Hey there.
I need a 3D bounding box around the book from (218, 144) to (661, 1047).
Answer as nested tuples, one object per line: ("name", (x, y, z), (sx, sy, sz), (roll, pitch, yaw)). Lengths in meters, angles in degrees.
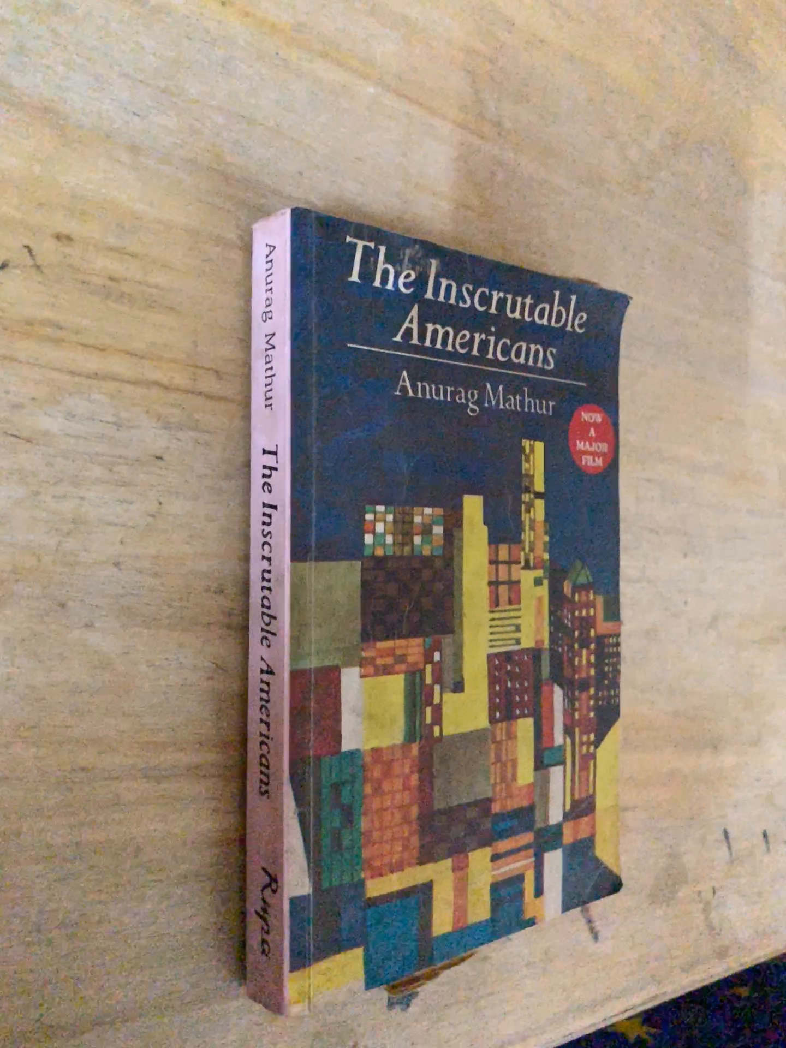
("book", (0.018, 0.015, 0.210), (0.121, 0.030, 0.180), (1, 88, -37))
